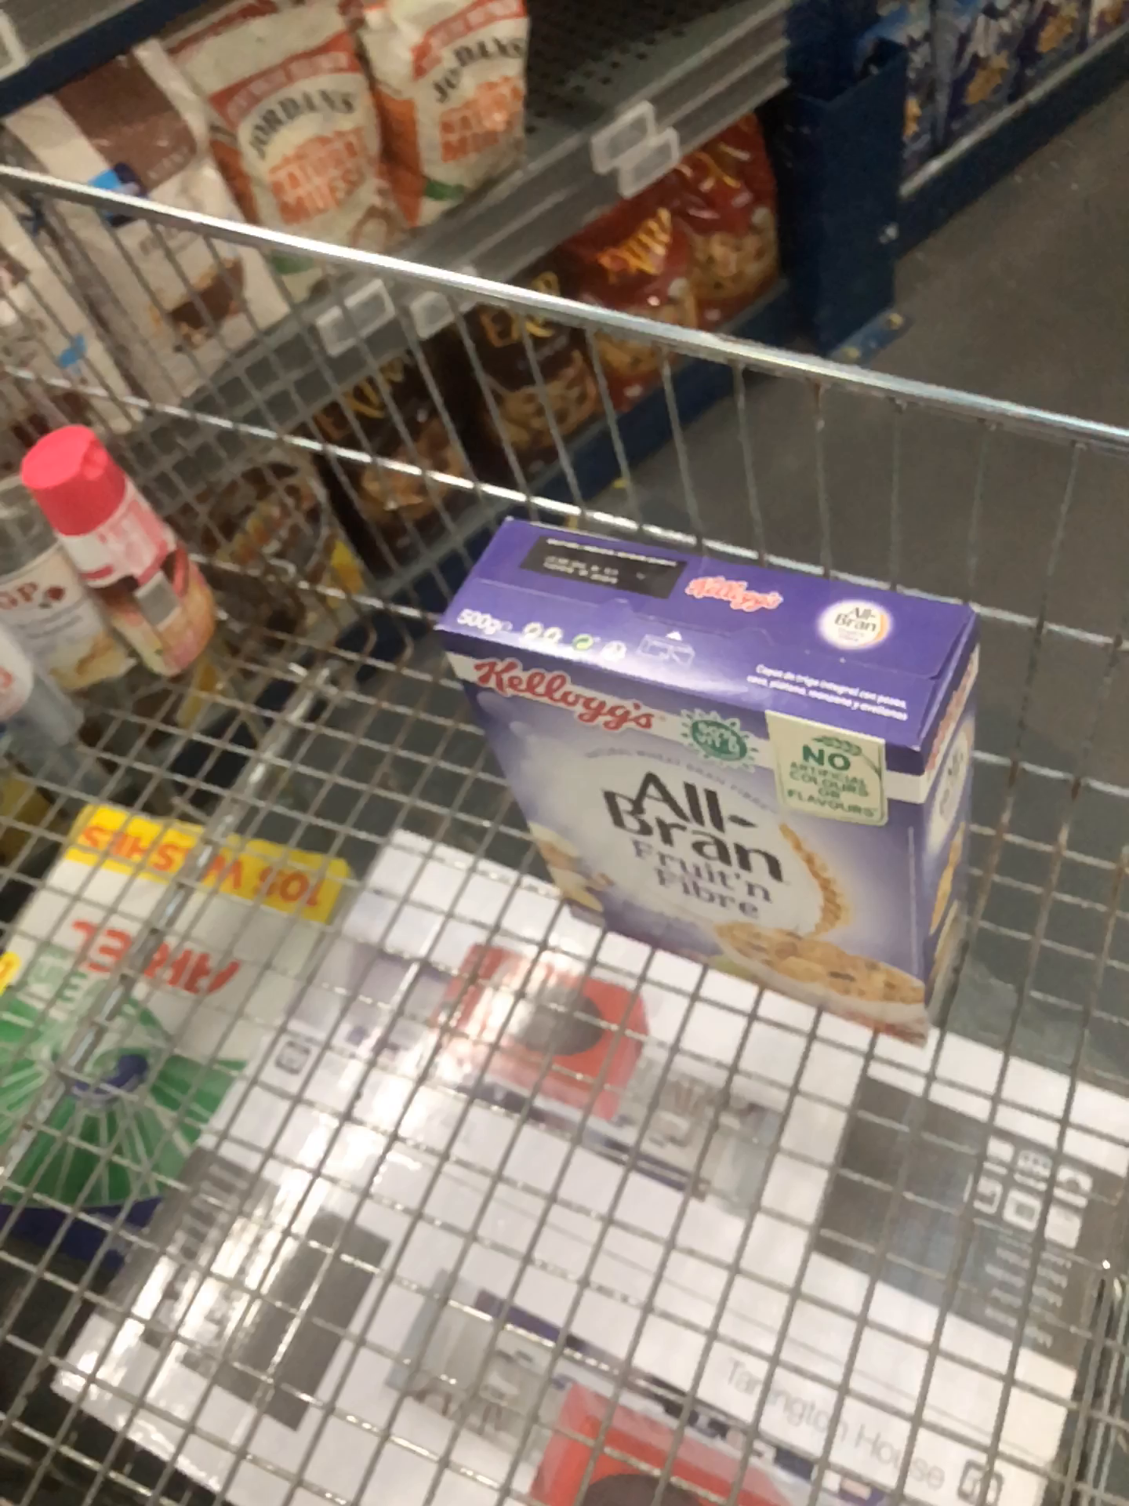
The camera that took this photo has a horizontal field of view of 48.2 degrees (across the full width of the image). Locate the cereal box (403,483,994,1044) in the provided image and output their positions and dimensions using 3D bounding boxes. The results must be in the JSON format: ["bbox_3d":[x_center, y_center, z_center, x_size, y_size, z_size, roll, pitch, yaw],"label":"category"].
[{"bbox_3d":[0.069,0.010,0.547,0.200,0.229,0.080,15,60,26],"label":"cereal box"}]
